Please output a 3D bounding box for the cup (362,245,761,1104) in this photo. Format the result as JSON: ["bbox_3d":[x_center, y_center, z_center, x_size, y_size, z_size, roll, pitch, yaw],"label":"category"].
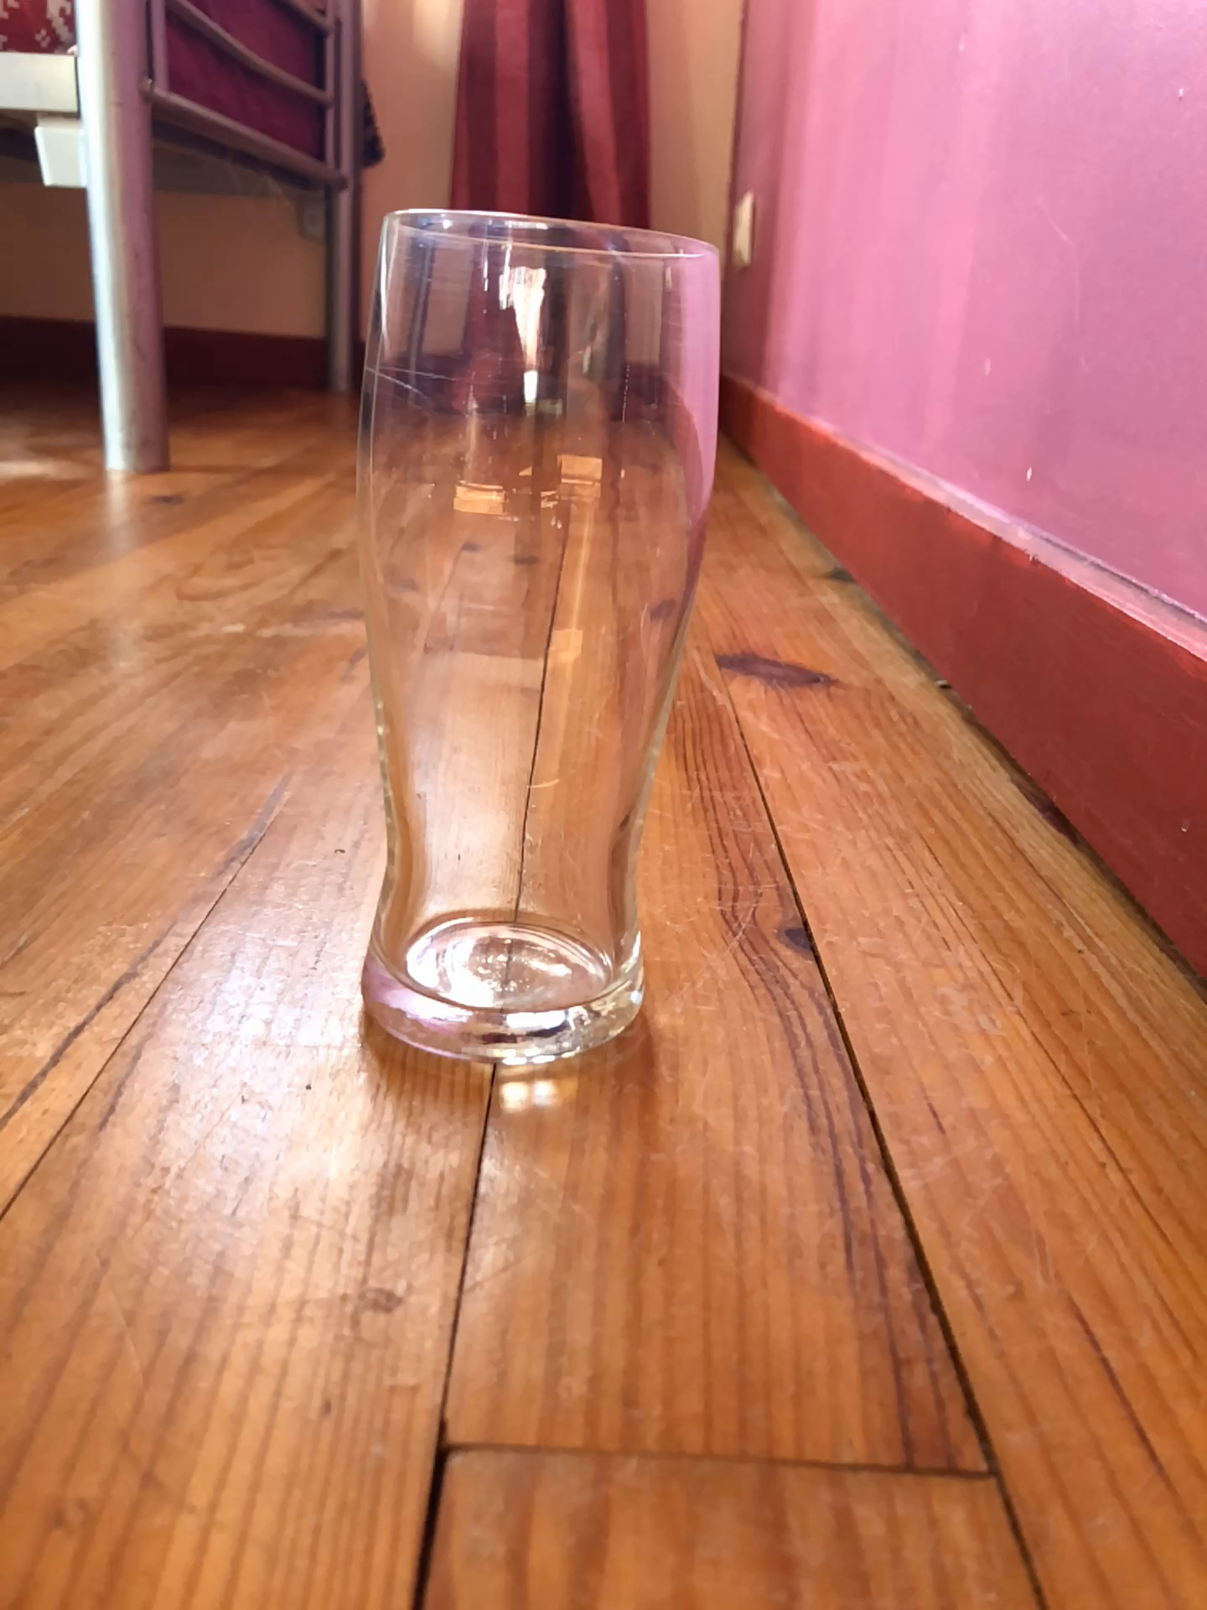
[{"bbox_3d":[-0.014,-0.025,0.255,0.060,0.143,0.064,3,17,-1],"label":"cup"}]
